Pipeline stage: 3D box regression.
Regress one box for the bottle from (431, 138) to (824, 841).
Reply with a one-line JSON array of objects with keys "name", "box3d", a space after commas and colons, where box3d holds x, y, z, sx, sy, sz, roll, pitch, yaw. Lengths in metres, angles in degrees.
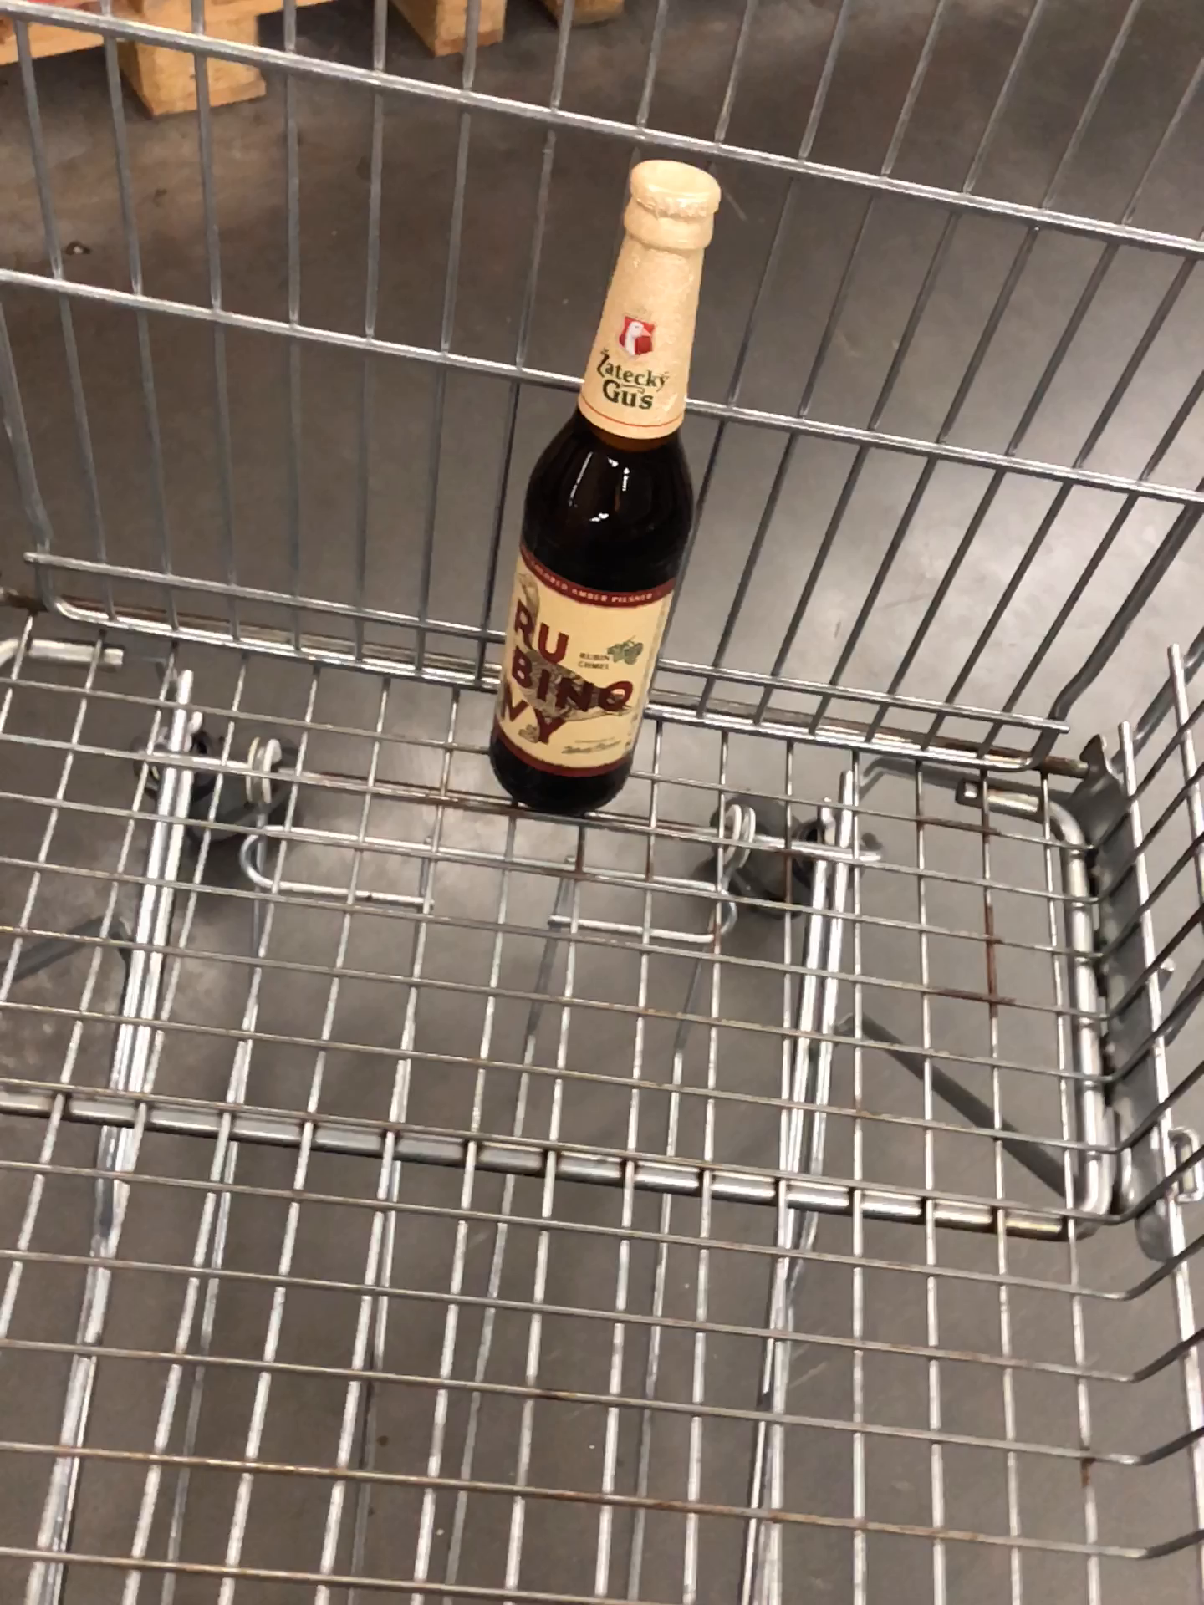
[{"name": "bottle", "box3d": [0.002, -0.108, 0.508, 0.080, 0.239, 0.080, 8, 43, -8]}]
